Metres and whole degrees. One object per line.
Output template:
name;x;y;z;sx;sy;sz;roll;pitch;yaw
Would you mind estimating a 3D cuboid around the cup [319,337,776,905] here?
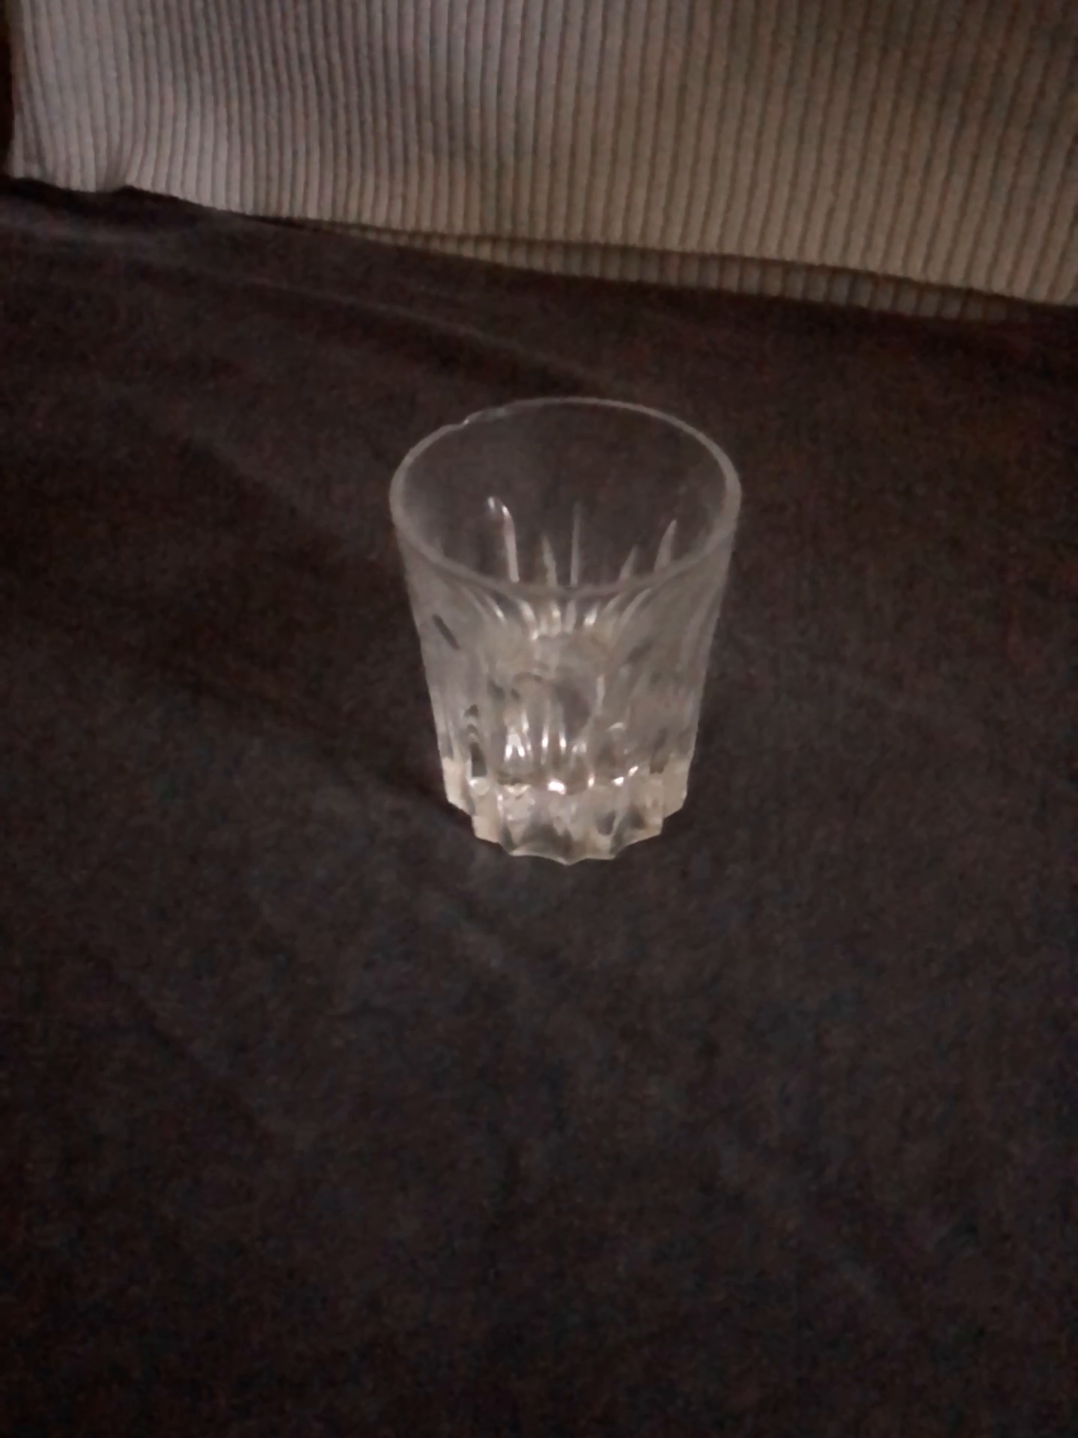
cup;0.002;-0.018;0.223;0.059;0.078;0.048;21;46;20
